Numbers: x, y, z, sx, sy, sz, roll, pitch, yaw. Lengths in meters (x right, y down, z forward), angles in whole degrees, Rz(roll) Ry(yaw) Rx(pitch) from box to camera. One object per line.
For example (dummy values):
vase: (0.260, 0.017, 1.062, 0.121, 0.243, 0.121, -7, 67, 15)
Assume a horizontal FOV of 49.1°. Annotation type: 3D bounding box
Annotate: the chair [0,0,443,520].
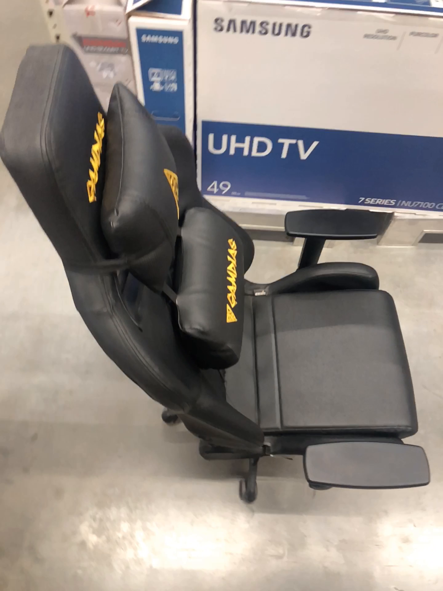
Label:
chair: (0.139, 0.072, 1.114, 0.780, 1.285, 0.743, 1, 63, -3)
